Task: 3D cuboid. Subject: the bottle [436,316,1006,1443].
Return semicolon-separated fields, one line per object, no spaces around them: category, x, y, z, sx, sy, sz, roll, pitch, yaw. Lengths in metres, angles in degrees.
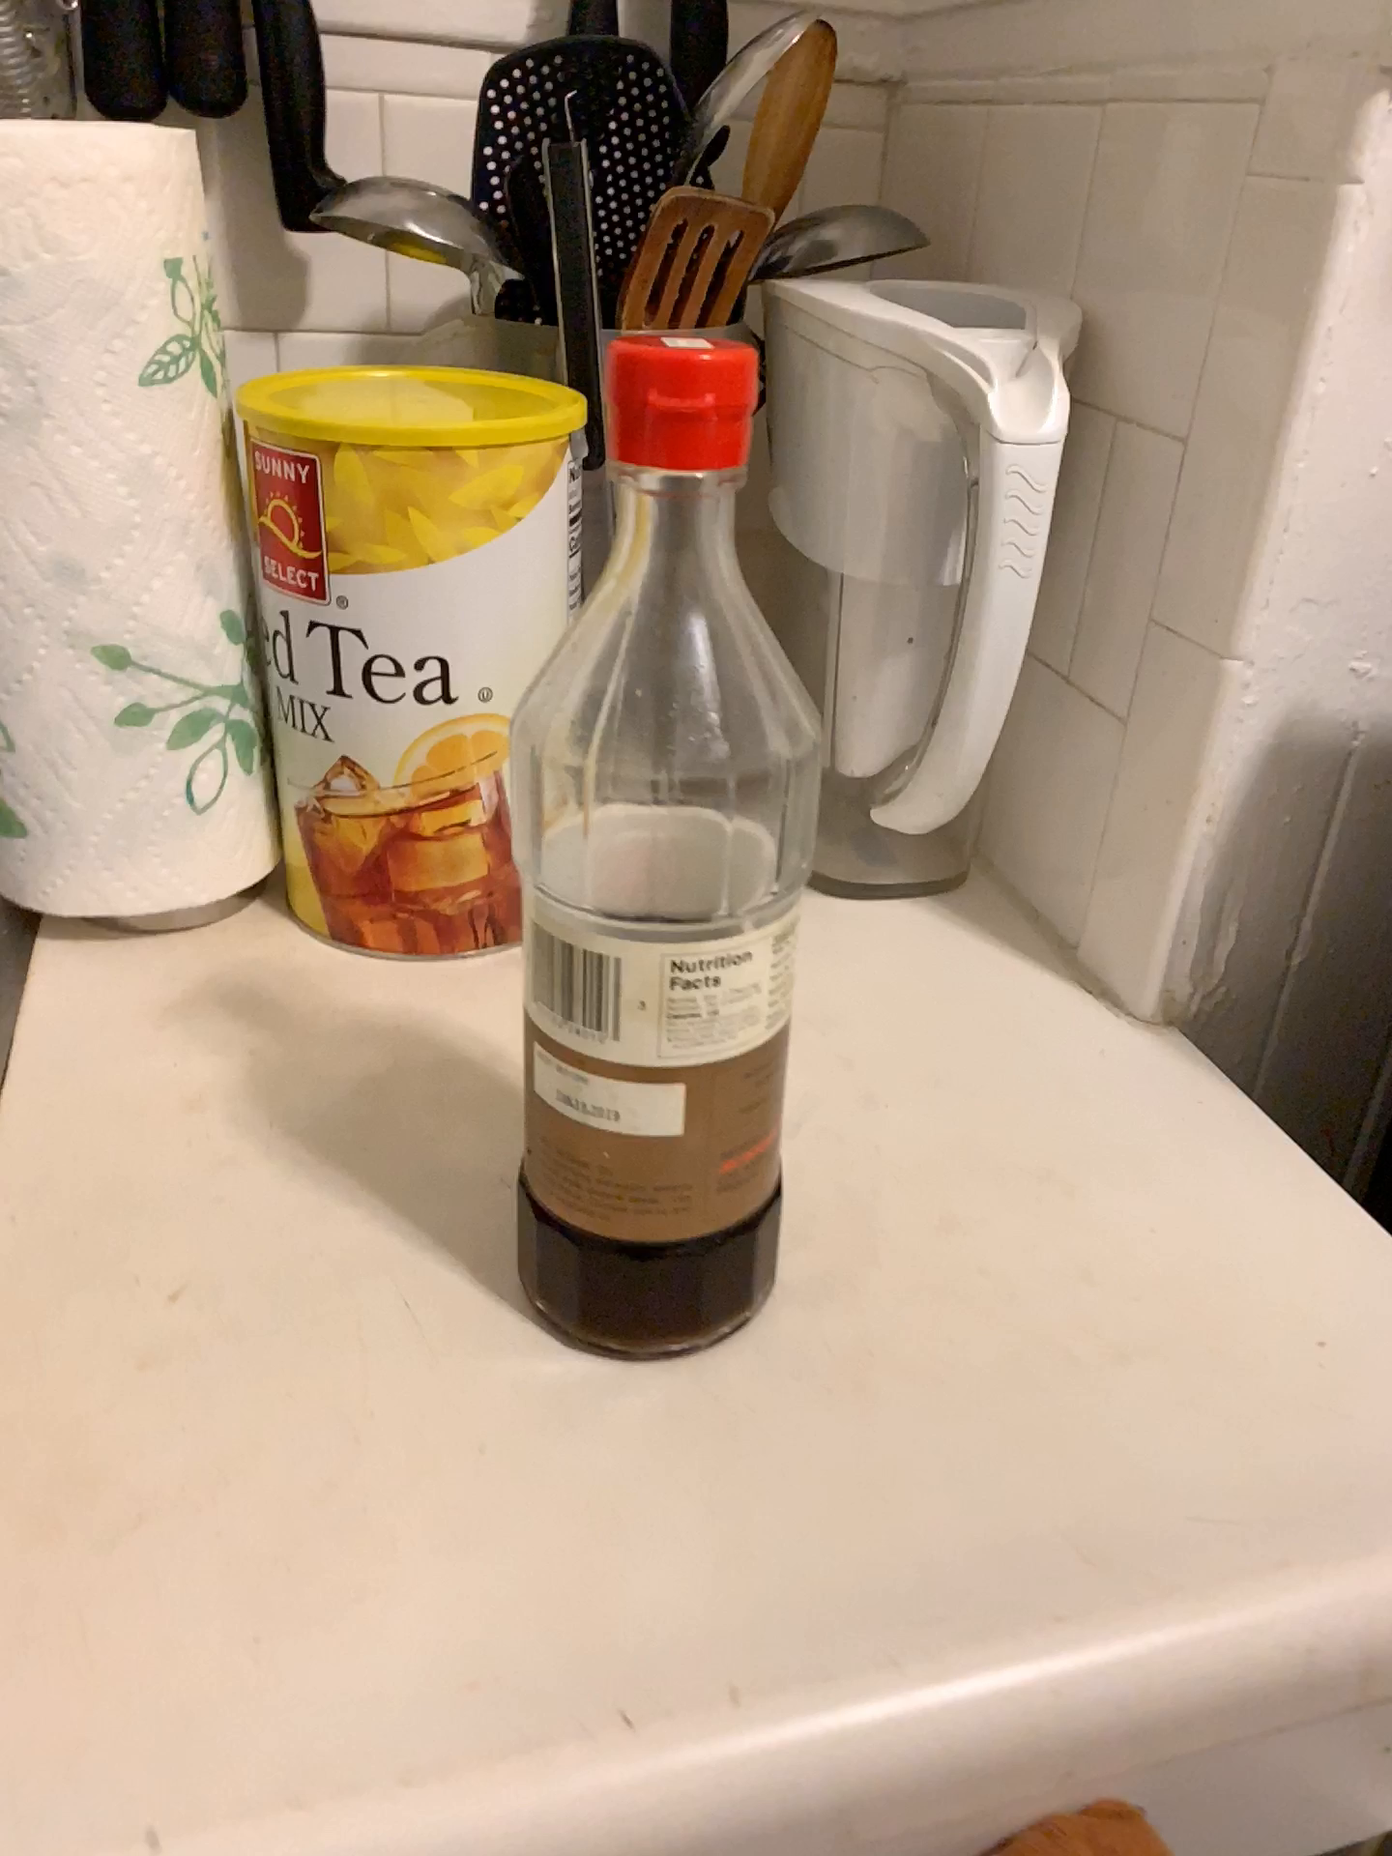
bottle;-0.007;-0.008;0.361;0.090;0.258;0.091;3;28;-2
